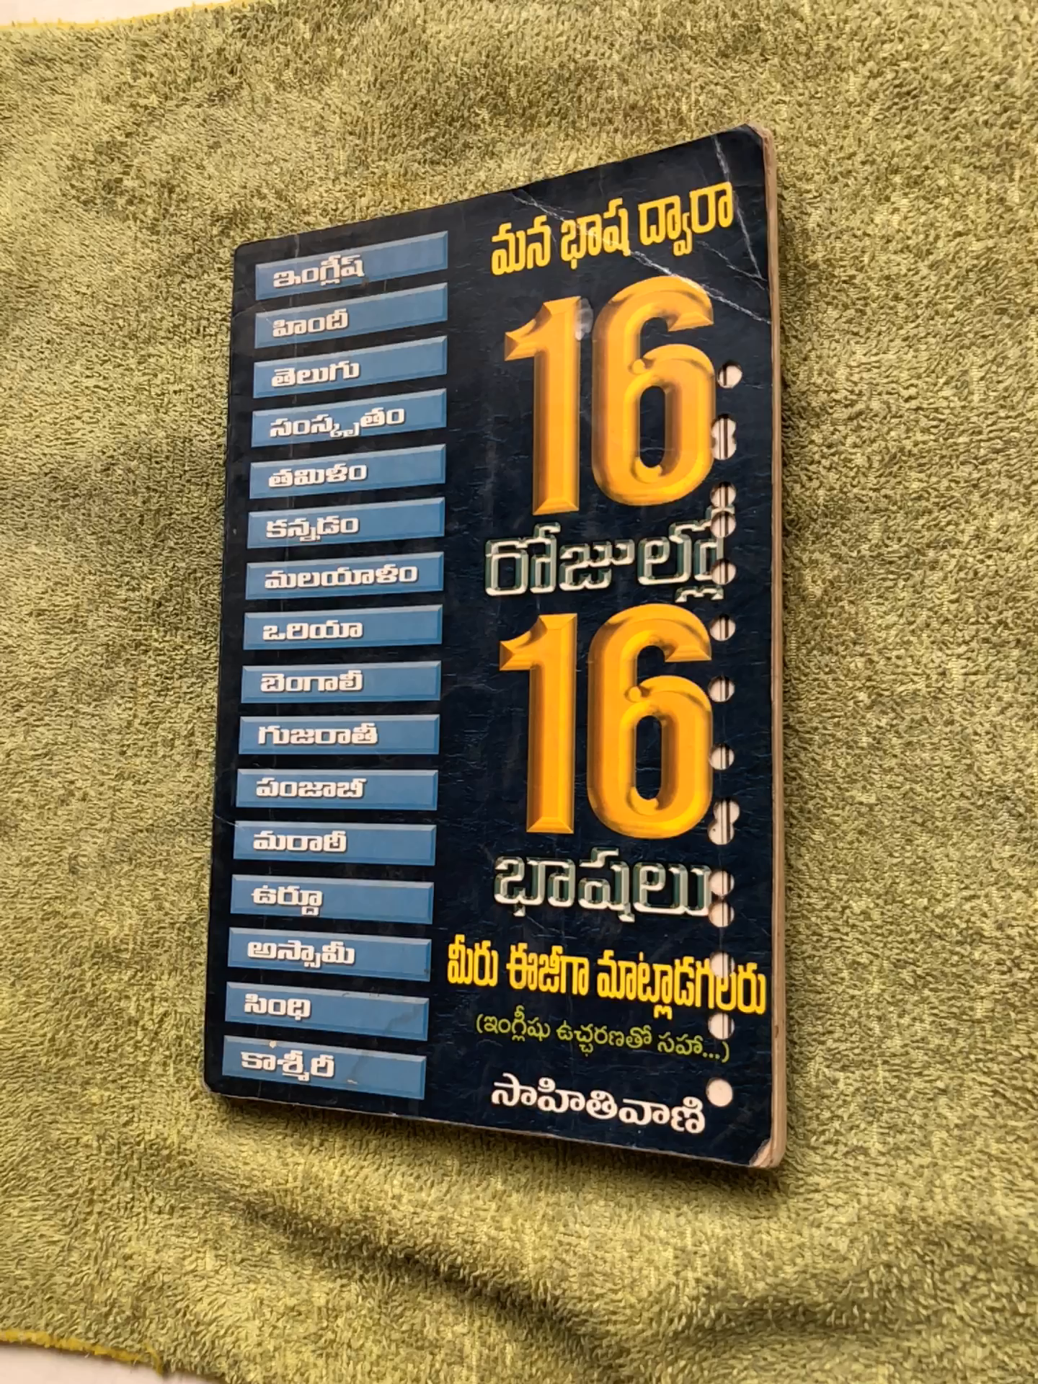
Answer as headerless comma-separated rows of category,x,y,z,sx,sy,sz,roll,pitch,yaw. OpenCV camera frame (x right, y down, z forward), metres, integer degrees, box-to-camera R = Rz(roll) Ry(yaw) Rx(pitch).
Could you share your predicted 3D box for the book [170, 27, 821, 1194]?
book,-0.007,-0.017,0.258,0.140,0.030,0.220,-1,84,24
